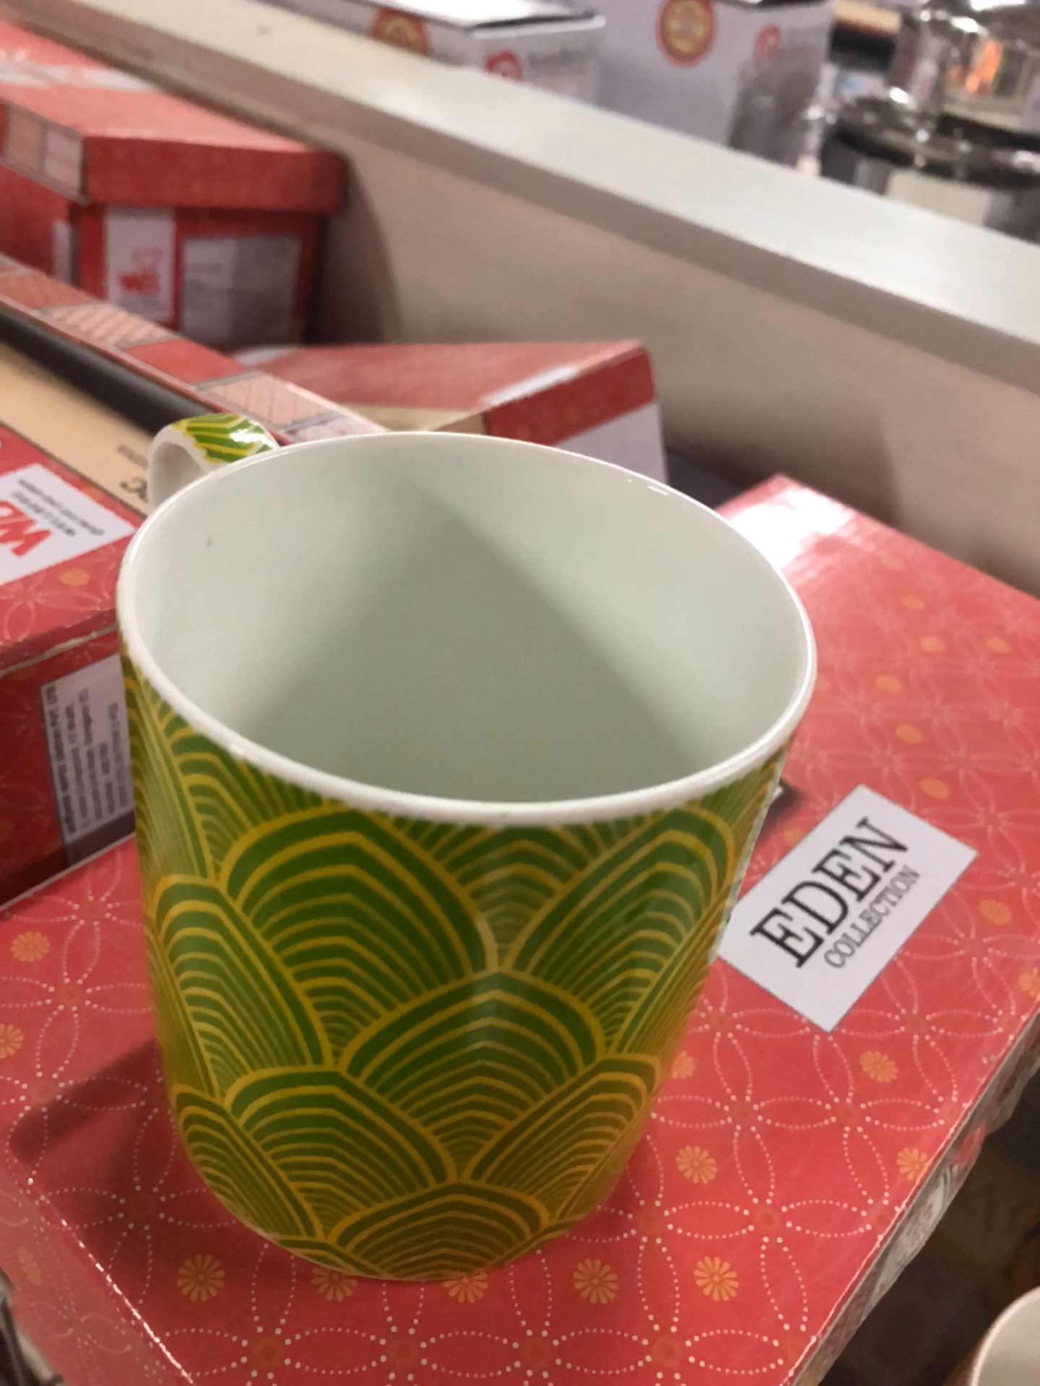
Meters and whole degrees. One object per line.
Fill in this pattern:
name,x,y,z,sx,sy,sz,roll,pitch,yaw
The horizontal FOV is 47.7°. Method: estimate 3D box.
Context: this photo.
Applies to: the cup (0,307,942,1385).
cup,-0.016,0.015,0.154,0.090,0.089,0.070,35,44,30
